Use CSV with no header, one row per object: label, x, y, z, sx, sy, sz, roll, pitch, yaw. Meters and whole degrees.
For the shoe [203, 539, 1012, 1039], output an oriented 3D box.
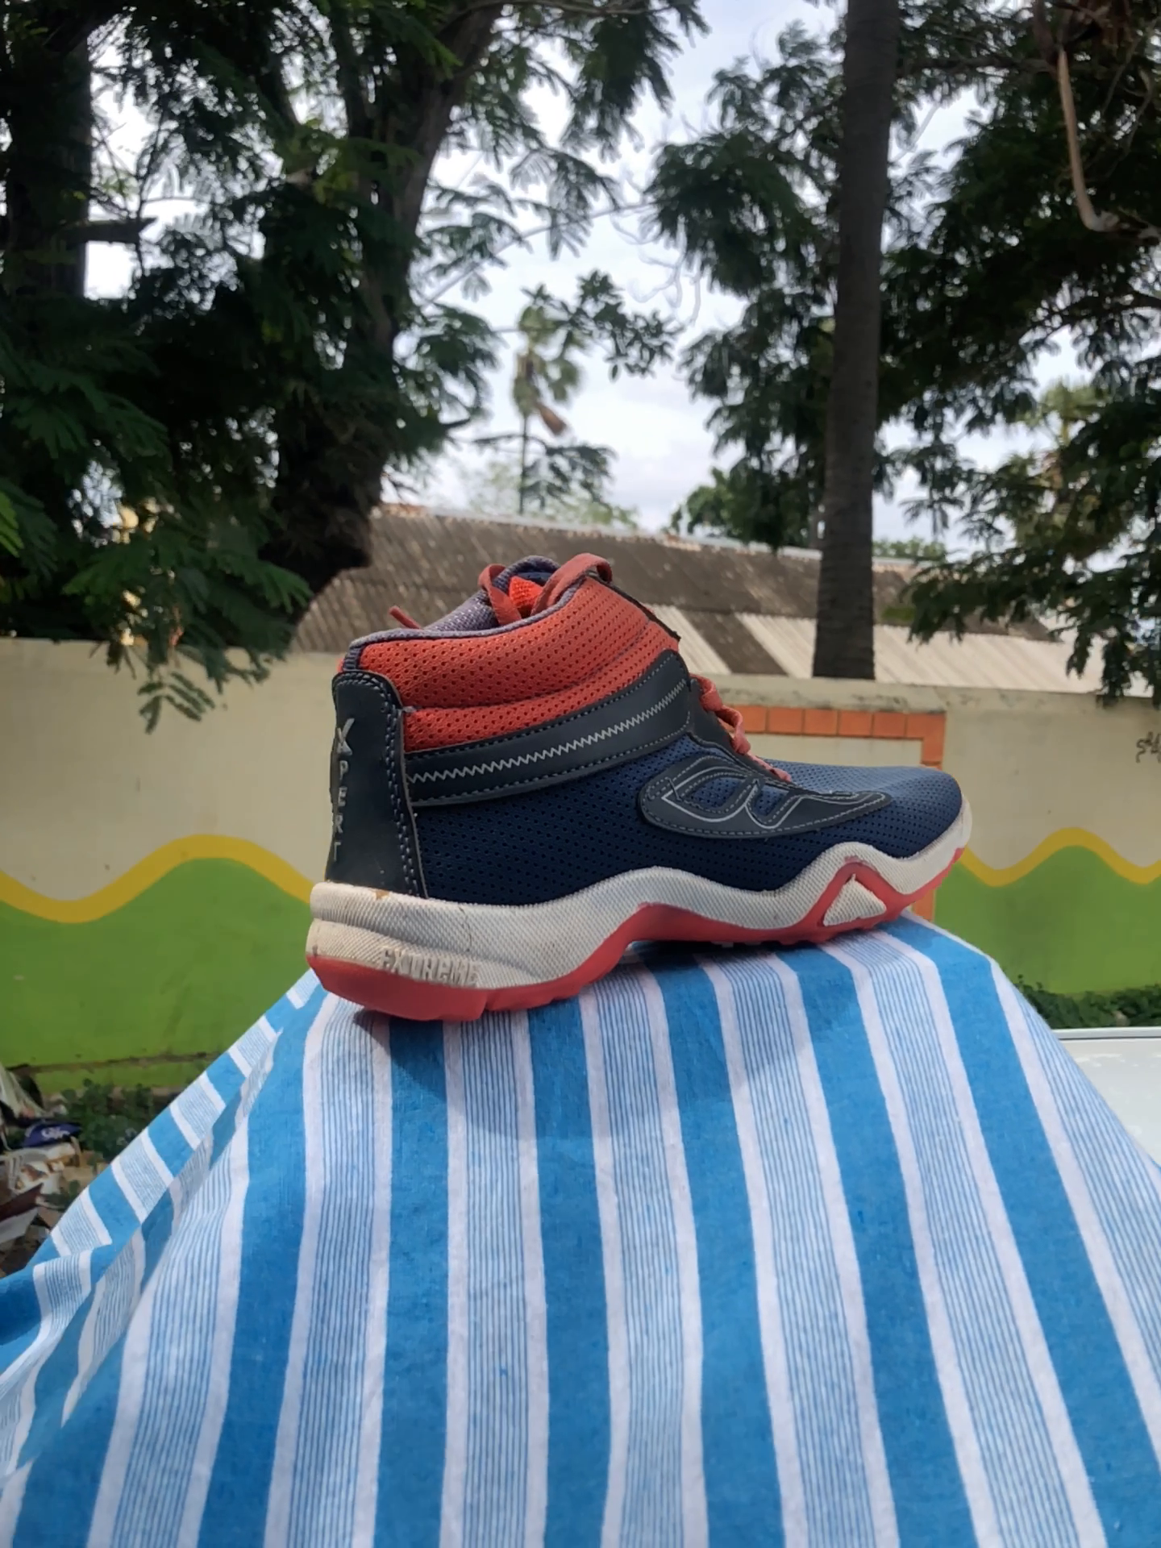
shoe,0.024,-0.001,0.433,0.271,0.120,0.100,-1,5,-41
